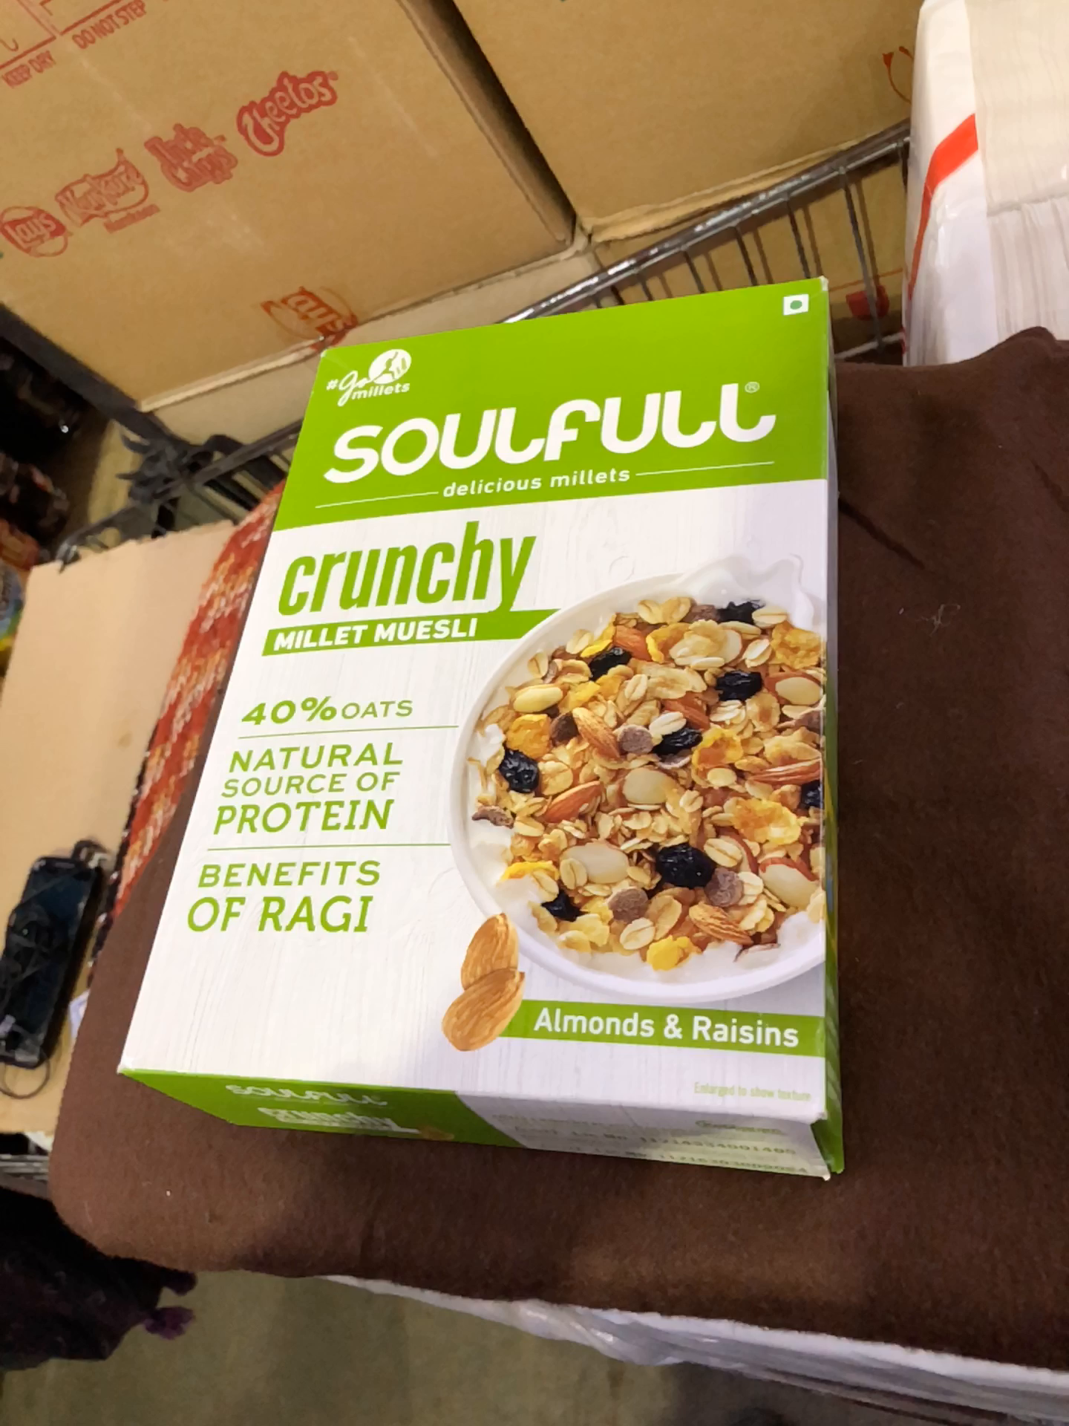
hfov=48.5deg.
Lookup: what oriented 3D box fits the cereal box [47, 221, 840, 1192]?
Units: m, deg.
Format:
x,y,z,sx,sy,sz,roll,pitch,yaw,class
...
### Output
x,y,z,sx,sy,sz,roll,pitch,yaw,class
-0.005,-0.013,0.316,0.160,0.060,0.241,-4,57,20,cereal box
